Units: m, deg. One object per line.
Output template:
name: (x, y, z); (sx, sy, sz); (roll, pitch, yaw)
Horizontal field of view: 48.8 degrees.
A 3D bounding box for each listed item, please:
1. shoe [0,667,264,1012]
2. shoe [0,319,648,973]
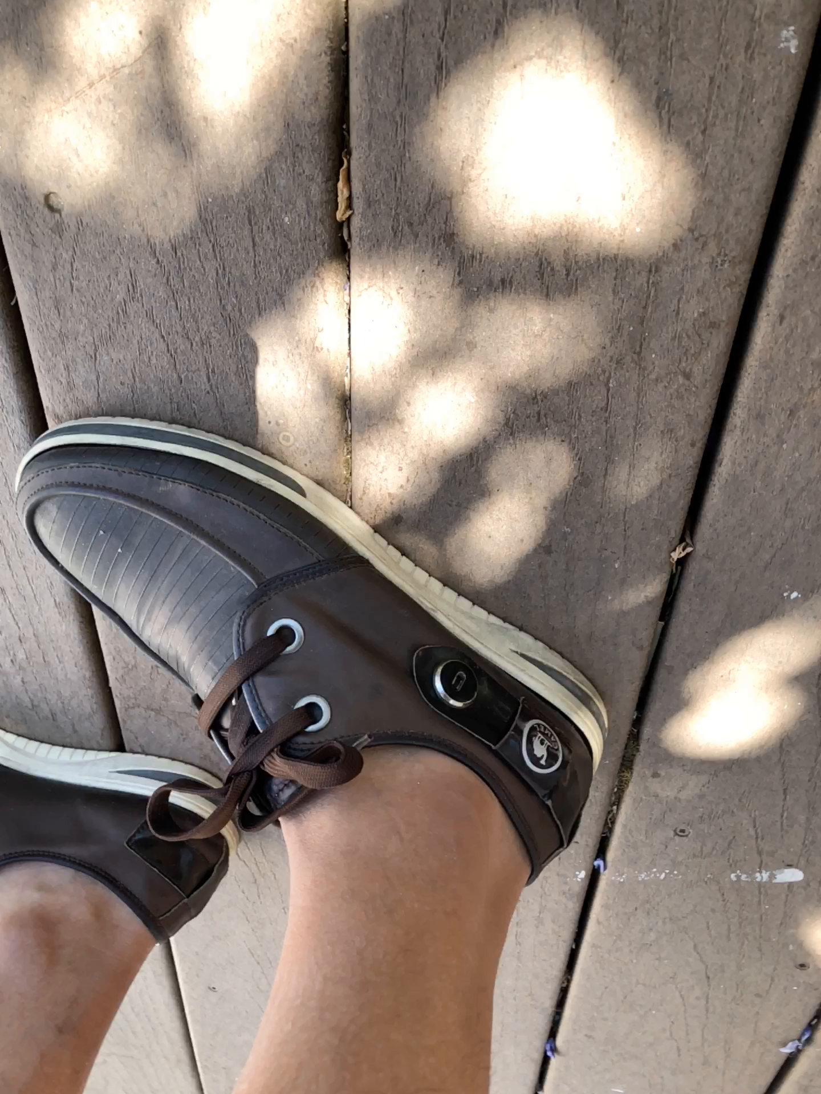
shoe: (-0.238, 0.153, 0.497); (0.283, 0.096, 0.104); (5, 126, 13)
shoe: (-0.052, 0.044, 0.358); (0.276, 0.089, 0.104); (32, 128, -7)
